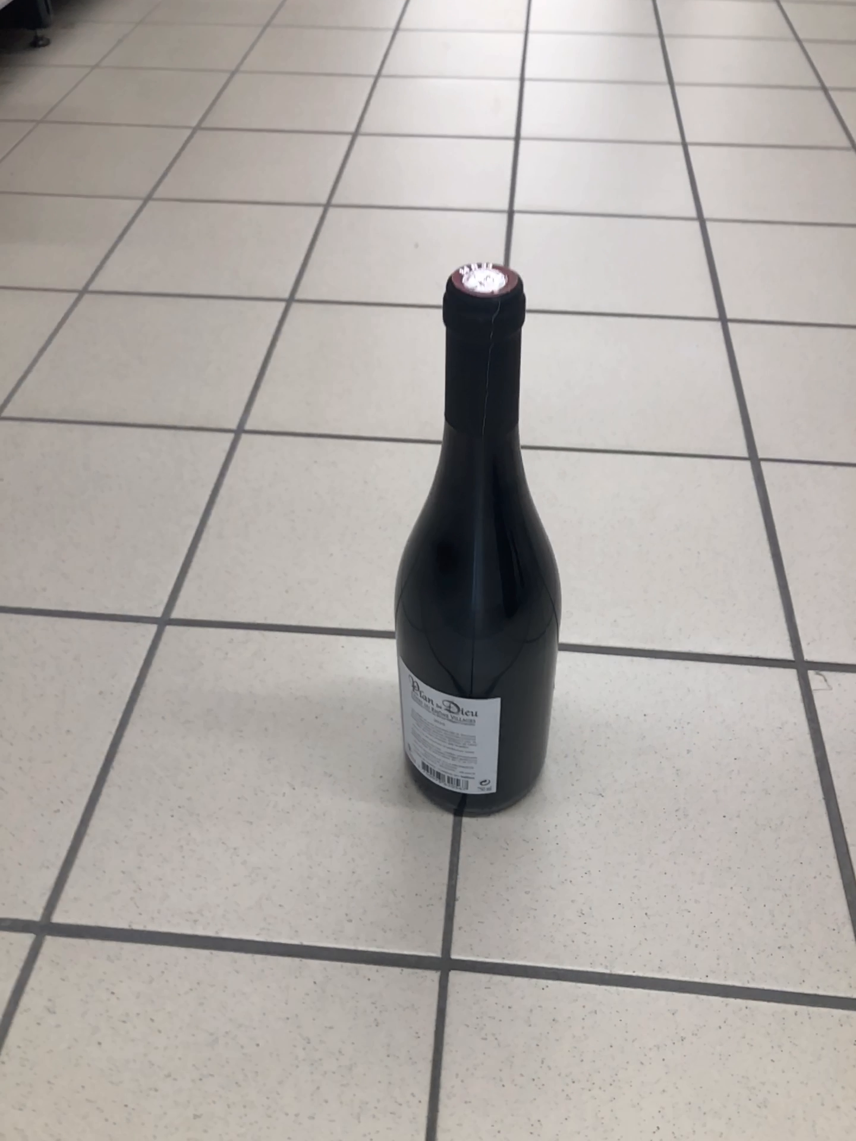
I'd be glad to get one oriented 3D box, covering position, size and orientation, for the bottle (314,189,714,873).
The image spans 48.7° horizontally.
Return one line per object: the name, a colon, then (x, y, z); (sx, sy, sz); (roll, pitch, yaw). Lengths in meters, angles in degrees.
bottle: (0.033, 0.001, 0.425); (0.100, 0.288, 0.101); (0, 45, 0)
